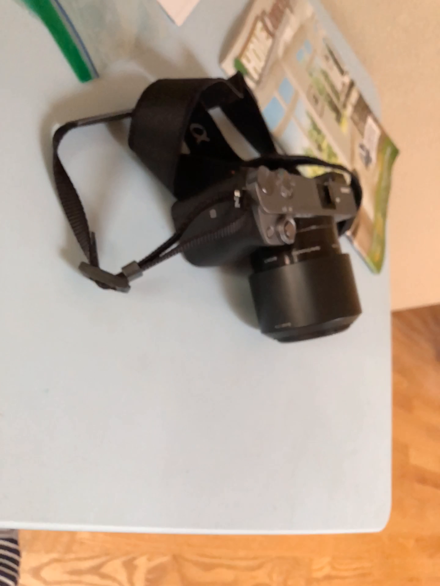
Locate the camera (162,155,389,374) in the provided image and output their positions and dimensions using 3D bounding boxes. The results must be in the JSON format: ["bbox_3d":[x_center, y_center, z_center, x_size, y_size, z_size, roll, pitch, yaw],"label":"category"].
[{"bbox_3d":[0.042,-0.017,0.328,0.131,0.070,0.110,-7,85,-50],"label":"camera"}]
